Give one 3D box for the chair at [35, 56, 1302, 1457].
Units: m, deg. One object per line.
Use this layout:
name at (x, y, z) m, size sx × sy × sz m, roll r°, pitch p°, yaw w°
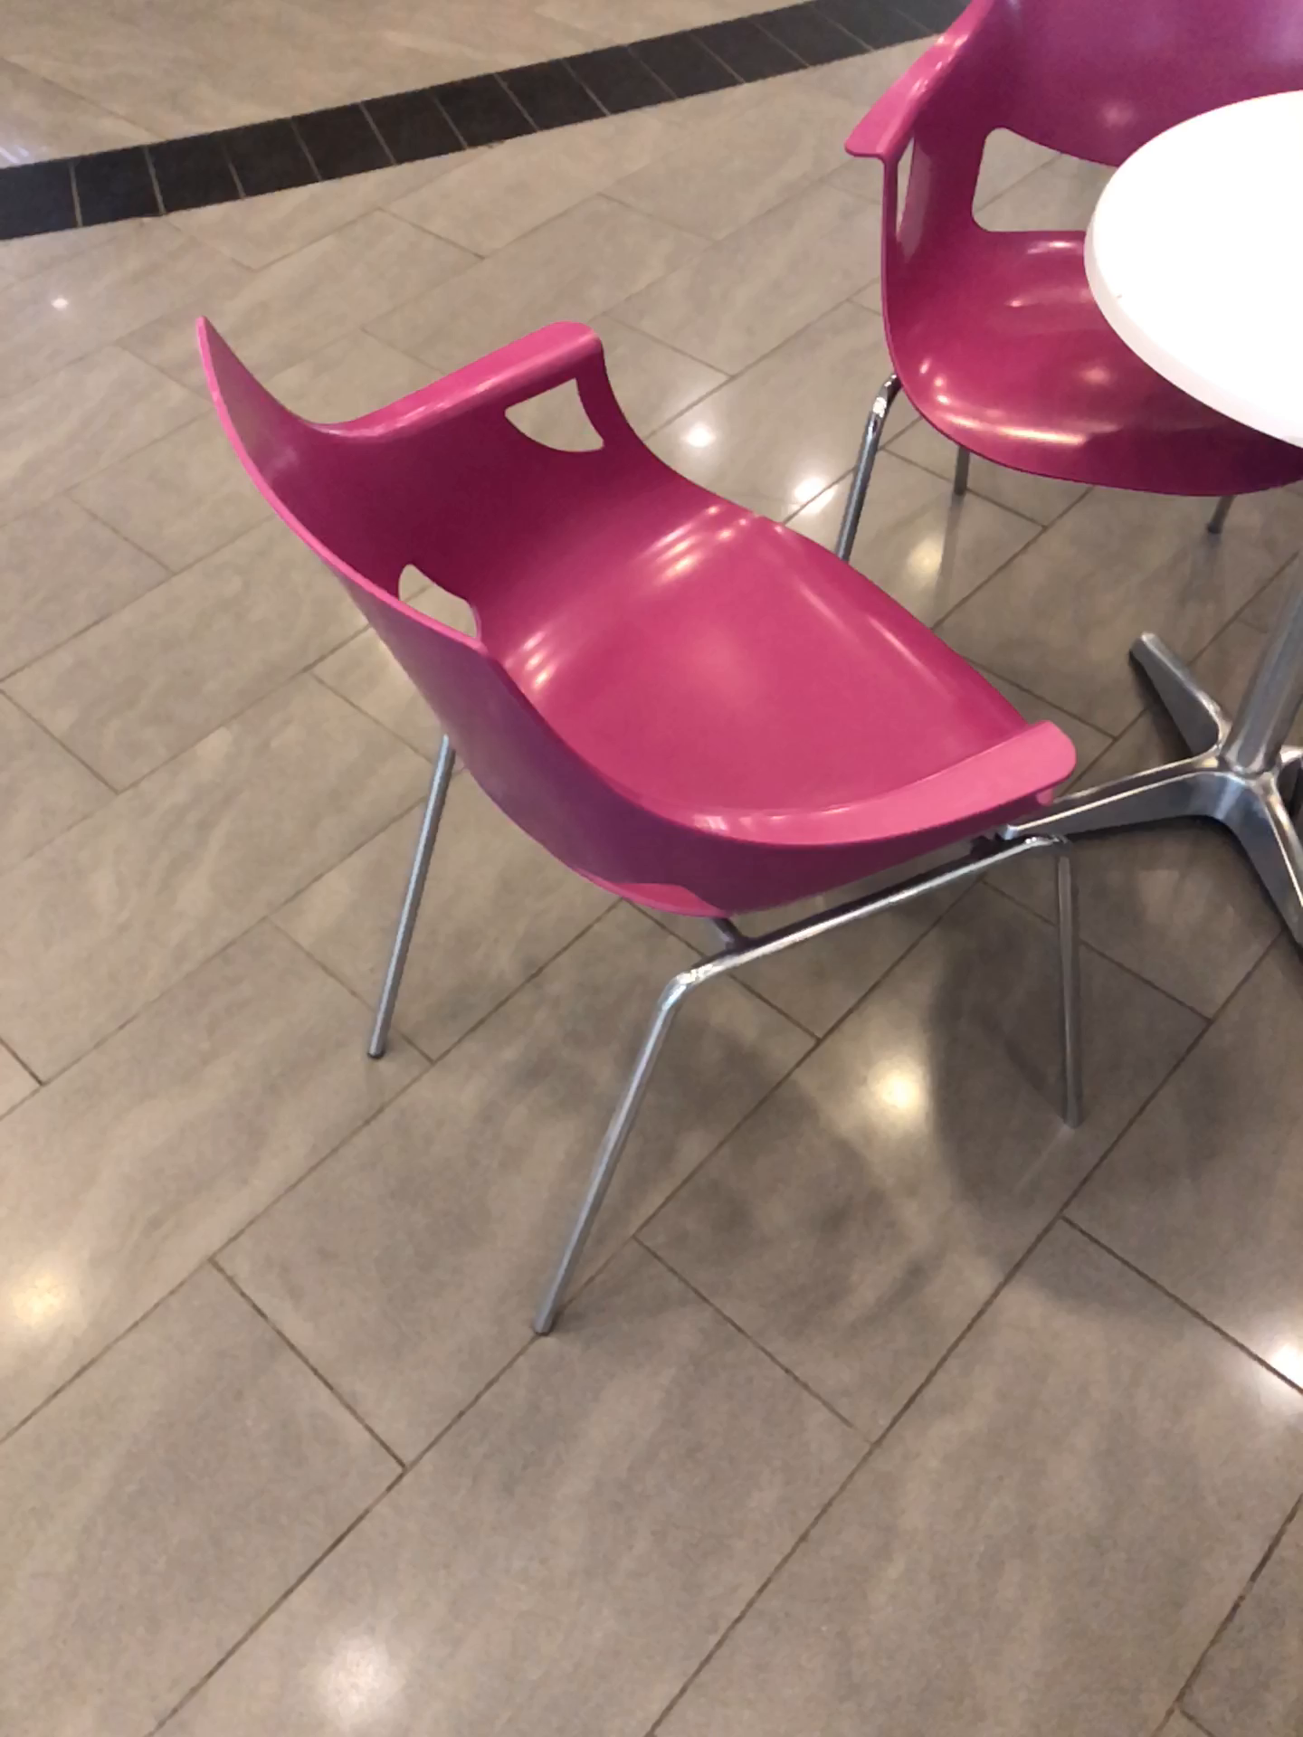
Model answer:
chair at (0.016, -0.074, 1.165) m, size 0.591 × 0.757 × 0.632 m, roll -26°, pitch 55°, yaw -17°
